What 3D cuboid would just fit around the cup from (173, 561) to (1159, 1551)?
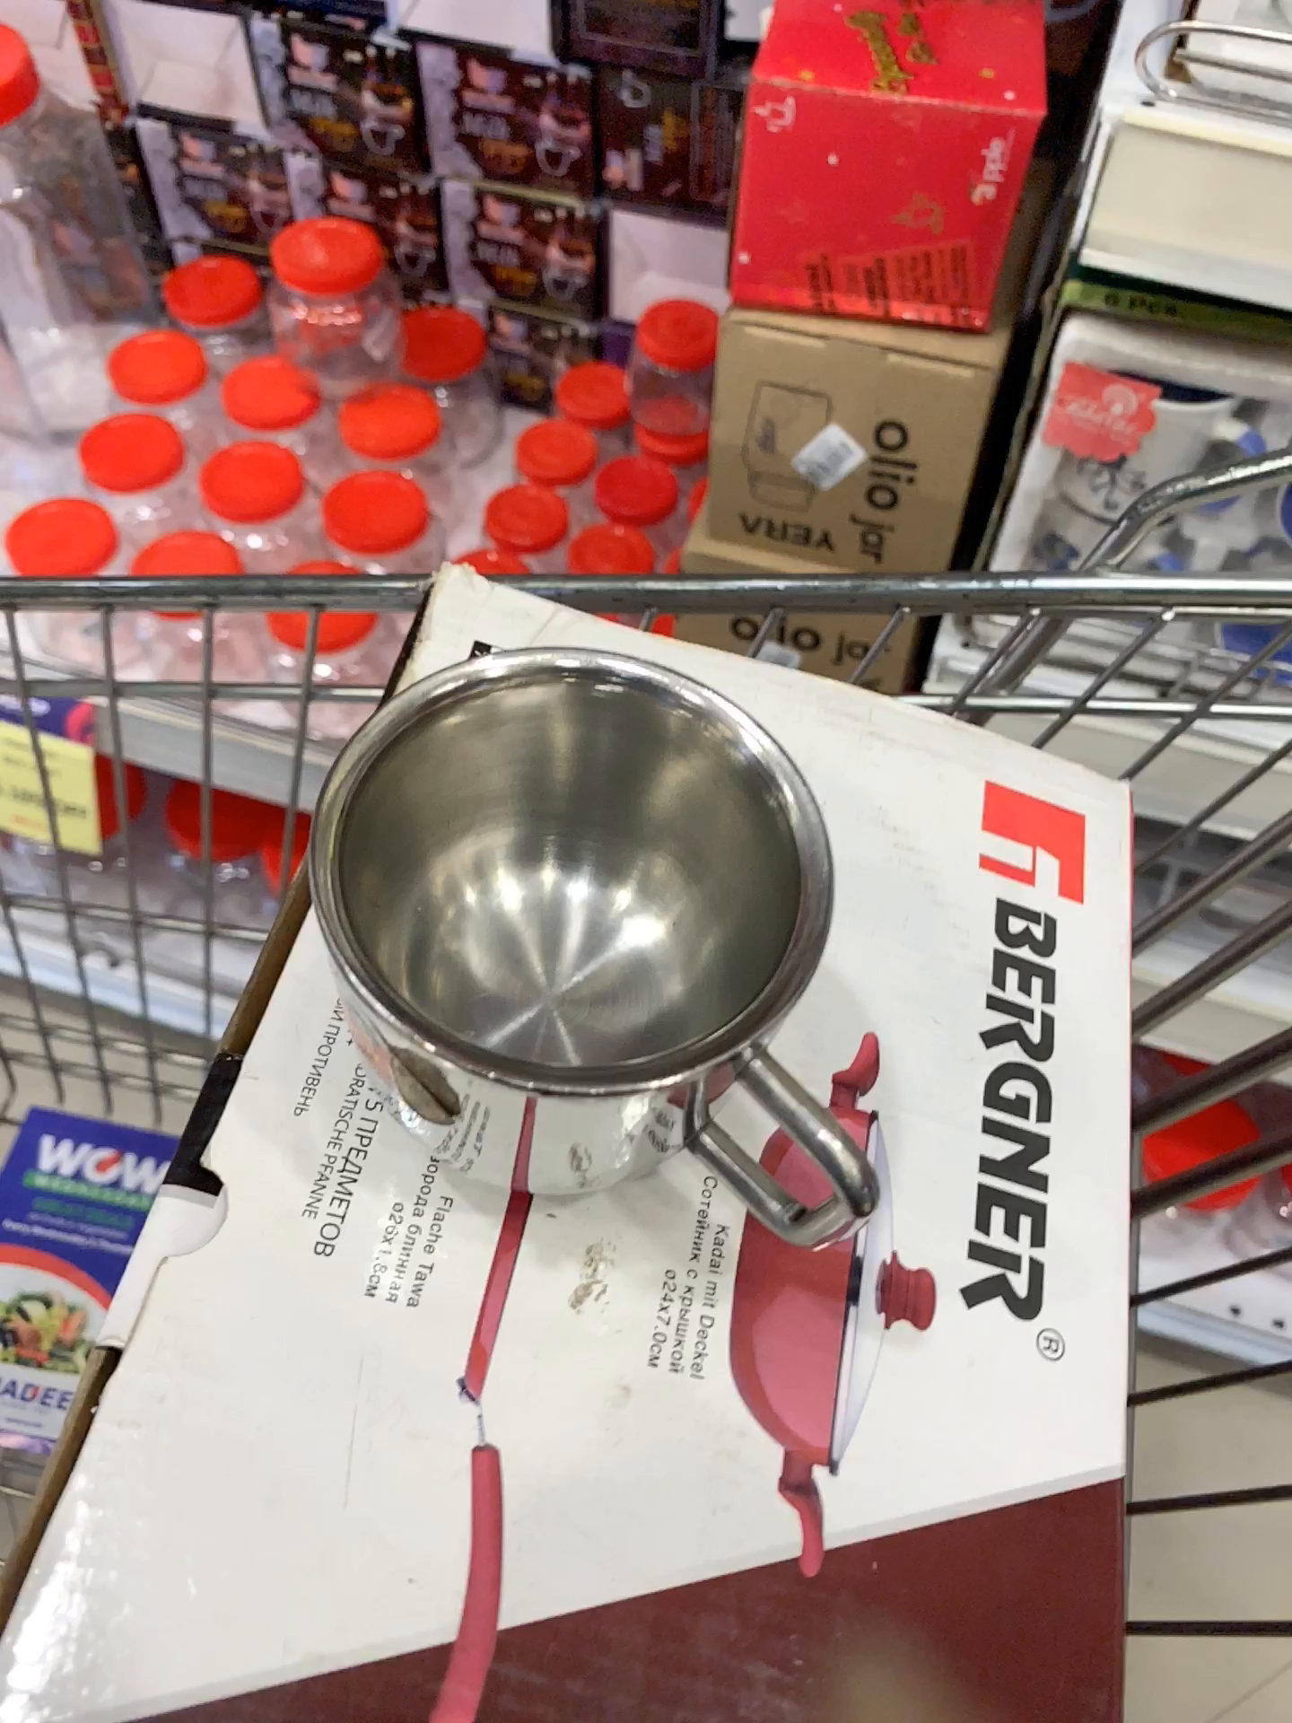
[{"bbox_3d":[-0.001,0.020,0.163,0.060,0.050,0.090,-35,64,-23],"label":"cup"}]
